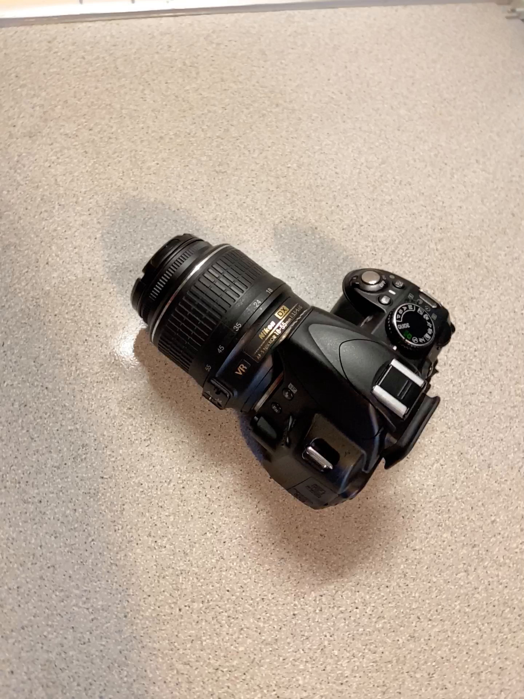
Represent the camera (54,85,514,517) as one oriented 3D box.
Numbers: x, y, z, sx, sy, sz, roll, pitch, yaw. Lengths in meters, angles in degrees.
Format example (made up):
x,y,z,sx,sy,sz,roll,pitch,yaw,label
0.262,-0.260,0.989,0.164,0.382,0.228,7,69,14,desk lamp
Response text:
x,y,z,sx,sy,sz,roll,pitch,yaw,label
0.009,-0.022,0.287,0.177,0.092,0.122,38,65,4,camera
